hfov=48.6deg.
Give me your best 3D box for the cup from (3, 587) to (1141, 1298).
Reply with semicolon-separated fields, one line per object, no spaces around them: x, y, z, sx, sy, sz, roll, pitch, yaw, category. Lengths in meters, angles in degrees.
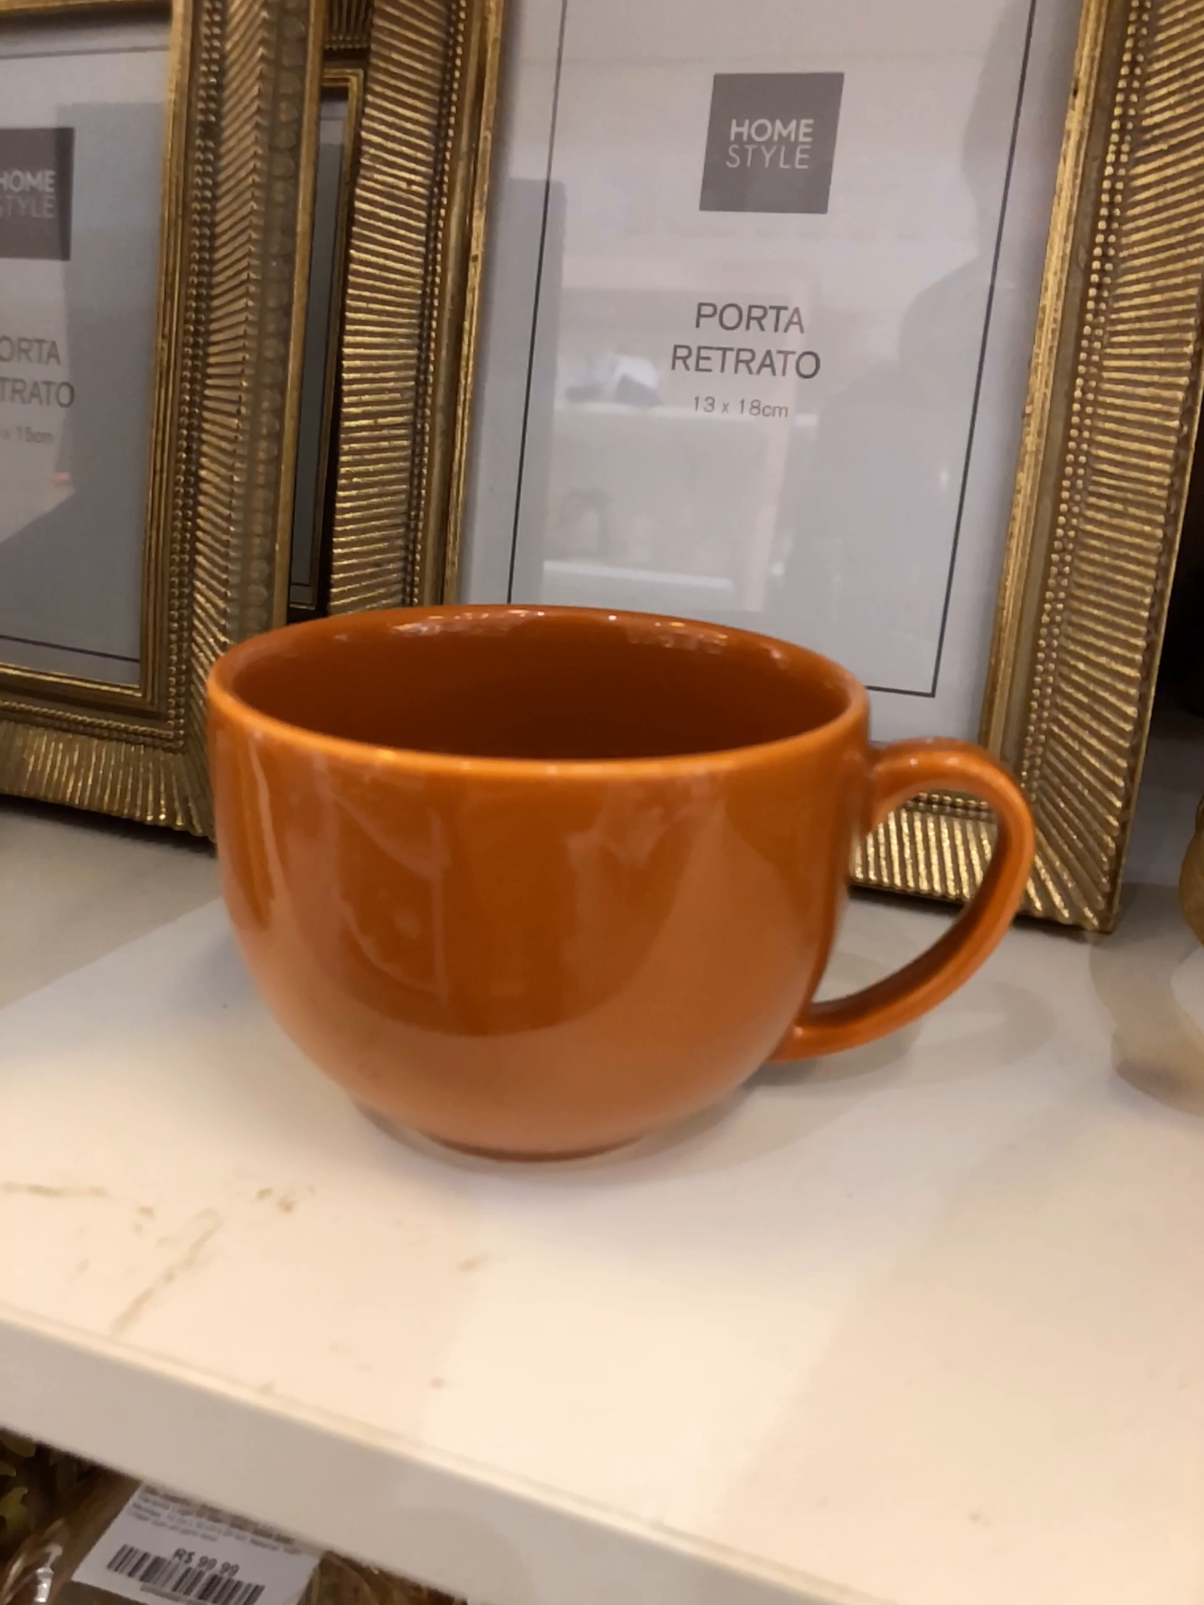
-0.001;0.010;0.192;0.120;0.060;0.091;3;20;5;cup
